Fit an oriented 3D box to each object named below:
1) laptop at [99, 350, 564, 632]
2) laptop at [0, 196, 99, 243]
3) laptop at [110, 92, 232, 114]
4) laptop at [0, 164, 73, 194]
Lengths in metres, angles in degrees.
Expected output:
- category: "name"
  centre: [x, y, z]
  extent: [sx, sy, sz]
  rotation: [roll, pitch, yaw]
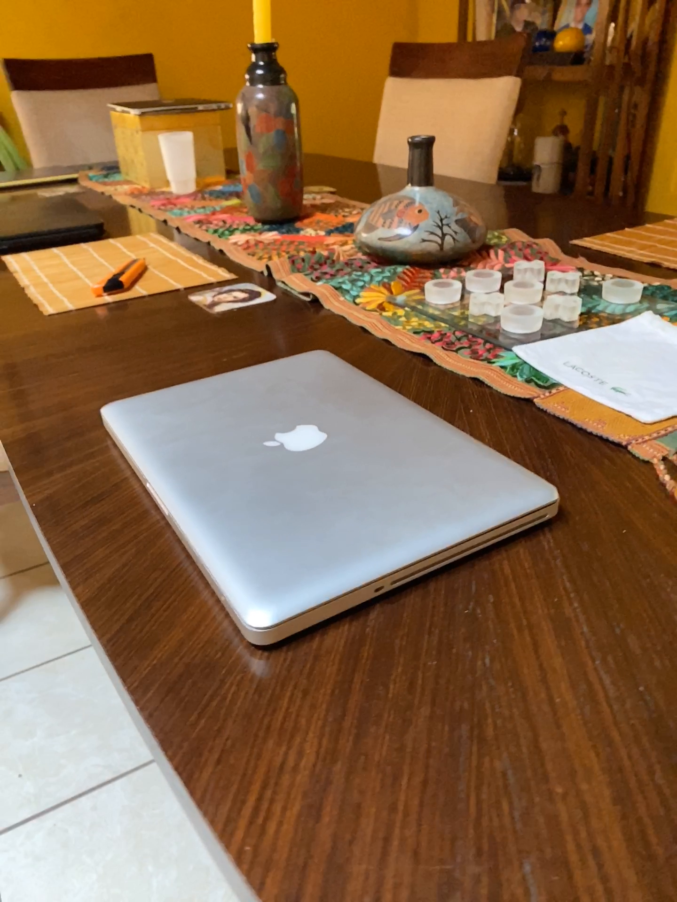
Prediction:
- category: "laptop"
  centre: [-0.030, -0.003, 0.544]
  extent: [0.232, 0.002, 0.325]
  rotation: [-19, 33, -25]
- category: "laptop"
  centre: [-0.650, -0.477, 1.415]
  extent: [0.254, 0.012, 0.302]
  rotation: [-16, 34, -26]
- category: "laptop"
  centre: [-0.421, -0.862, 1.714]
  extent: [0.214, 0.011, 0.309]
  rotation: [-17, 34, -20]
- category: "laptop"
  centre: [-0.990, -0.799, 2.032]
  extent: [0.343, 0.004, 0.321]
  rotation: [-22, 35, -28]
